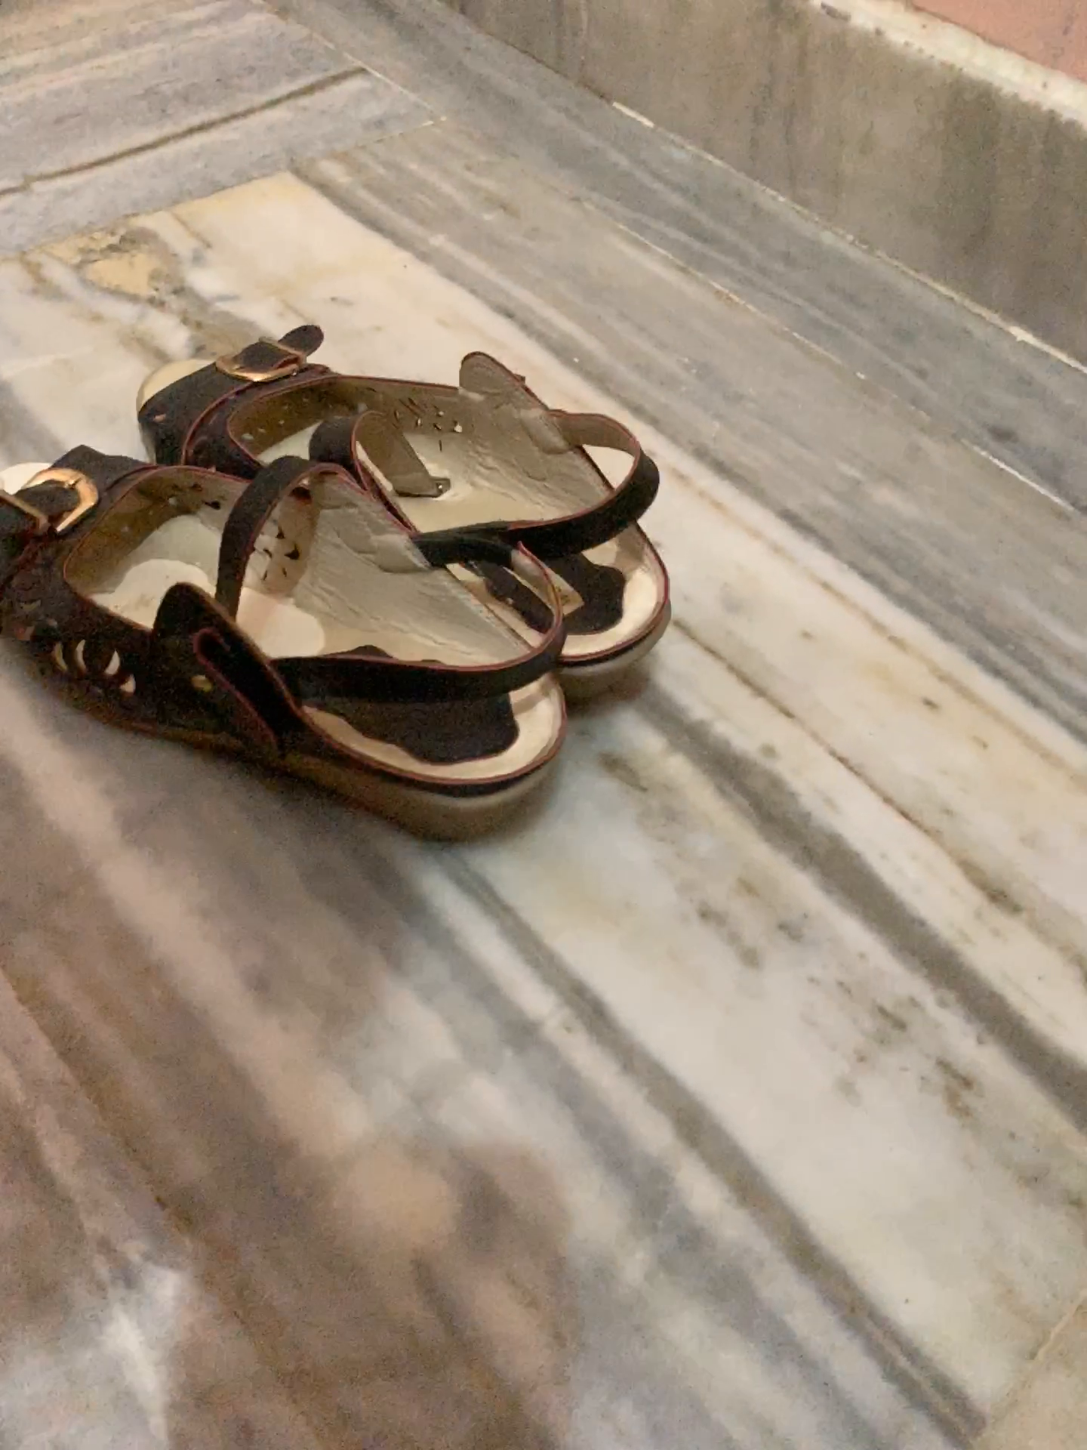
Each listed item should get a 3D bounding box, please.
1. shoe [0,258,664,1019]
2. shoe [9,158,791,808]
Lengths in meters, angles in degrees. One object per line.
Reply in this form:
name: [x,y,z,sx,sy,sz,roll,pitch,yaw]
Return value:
shoe: [-0.105,-0.037,0.366,0.260,0.100,0.100,32,56,17]
shoe: [-0.058,-0.098,0.417,0.260,0.100,0.100,32,56,17]
